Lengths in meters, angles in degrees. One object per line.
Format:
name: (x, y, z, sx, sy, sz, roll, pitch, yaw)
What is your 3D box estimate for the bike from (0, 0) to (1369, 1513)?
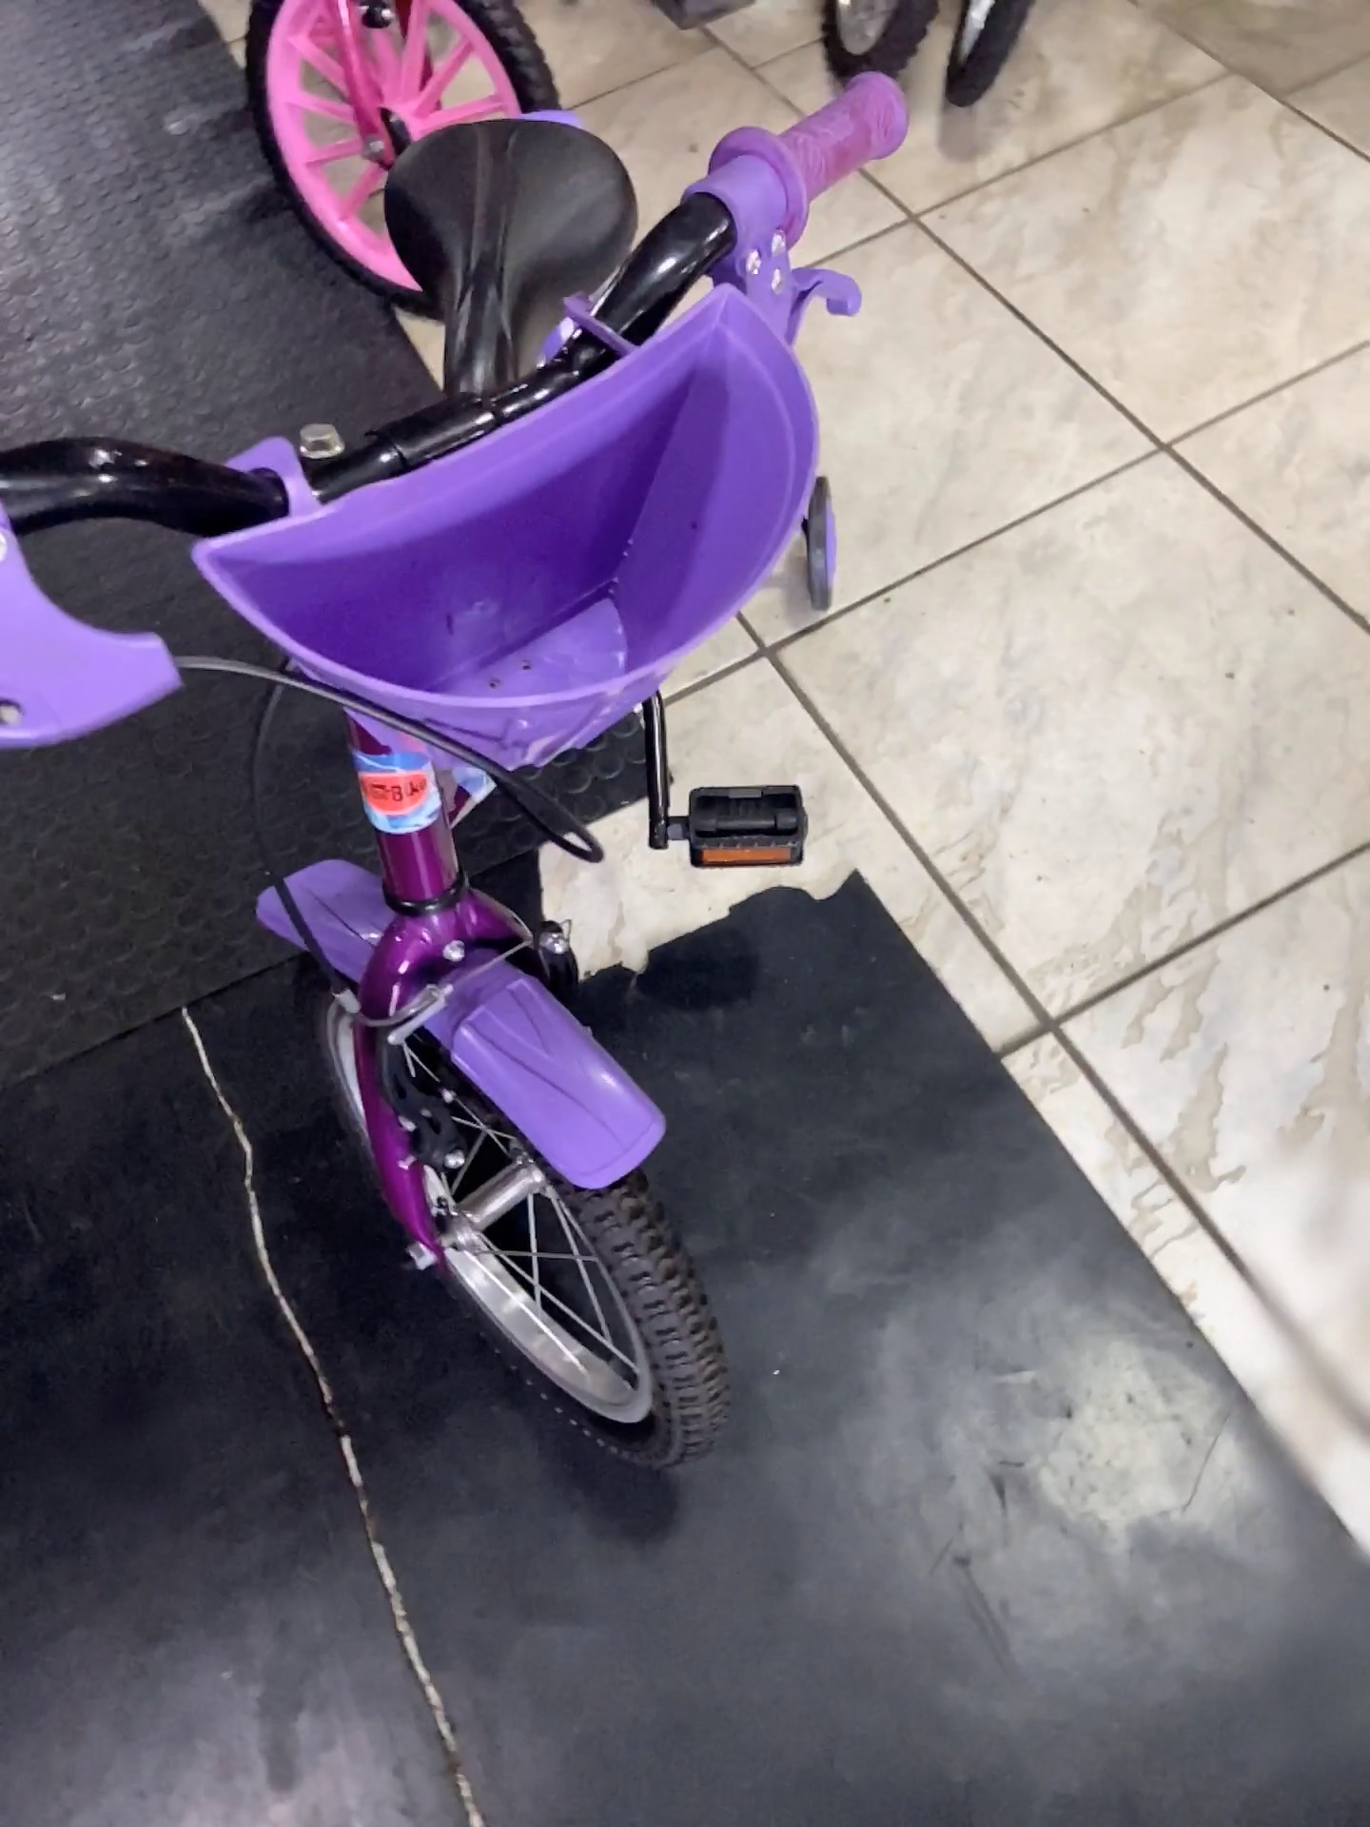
bike: (-0.080, -0.240, 0.847, 0.447, 0.744, 0.974, -8, 58, 4)
